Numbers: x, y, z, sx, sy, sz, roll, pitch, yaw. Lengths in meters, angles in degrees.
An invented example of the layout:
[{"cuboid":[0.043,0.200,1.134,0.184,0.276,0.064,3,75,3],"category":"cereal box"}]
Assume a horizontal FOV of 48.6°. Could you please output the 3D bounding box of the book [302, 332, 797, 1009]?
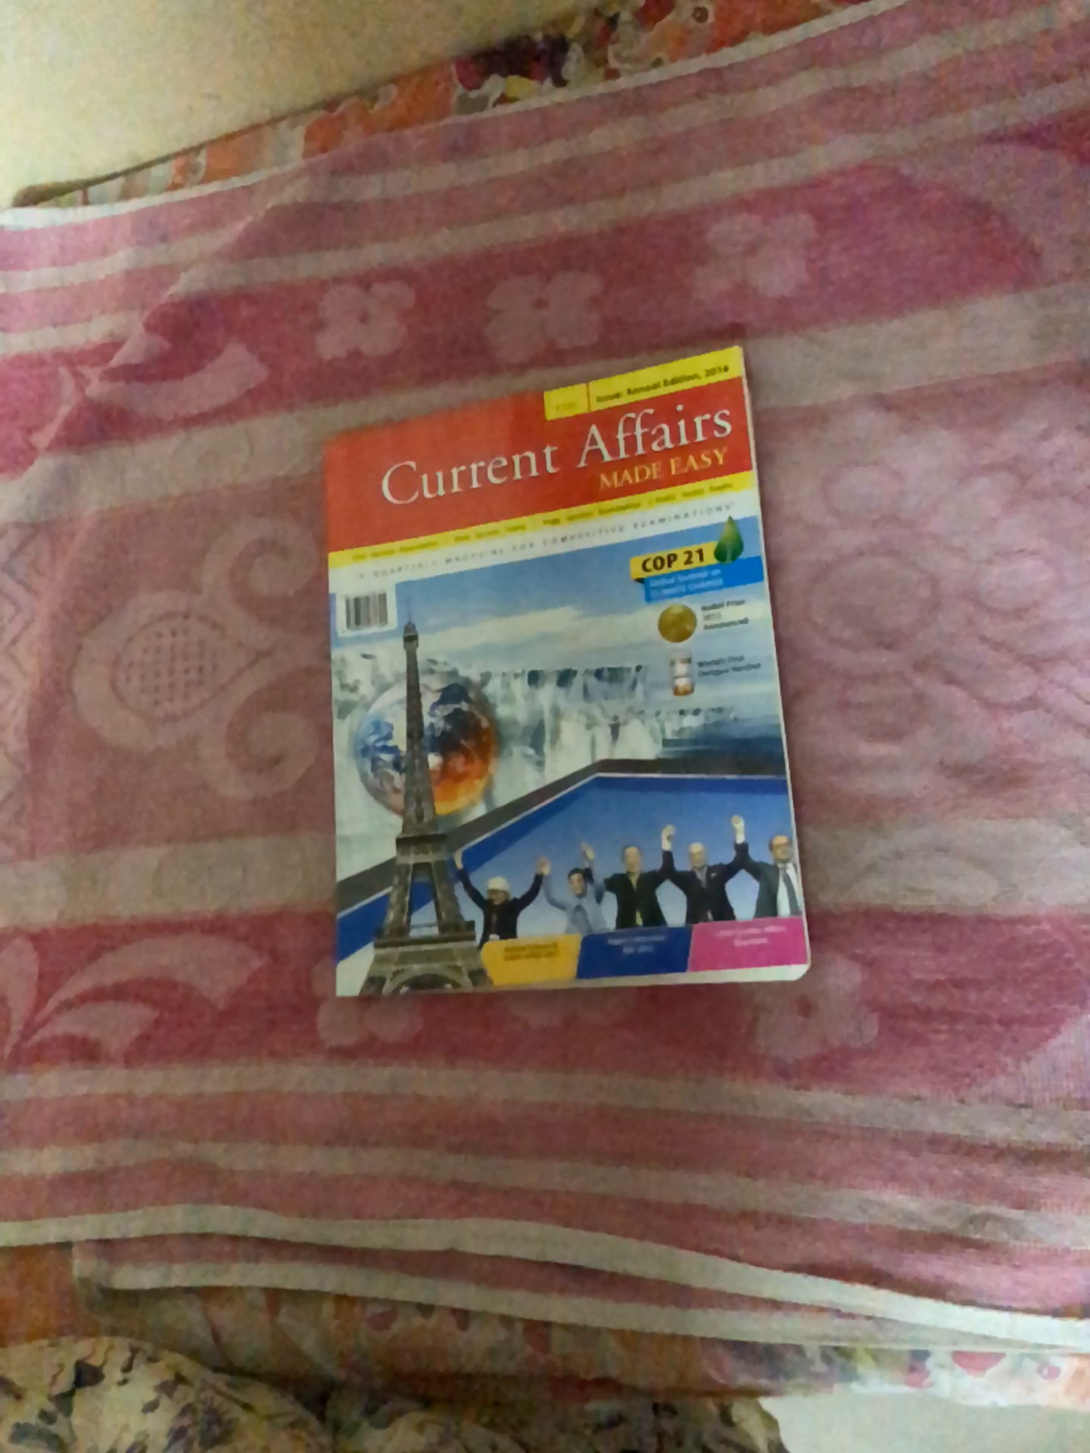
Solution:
[{"cuboid":[-0.009,-0.021,0.526,0.205,0.025,0.270,-8,76,19],"category":"book"}]
